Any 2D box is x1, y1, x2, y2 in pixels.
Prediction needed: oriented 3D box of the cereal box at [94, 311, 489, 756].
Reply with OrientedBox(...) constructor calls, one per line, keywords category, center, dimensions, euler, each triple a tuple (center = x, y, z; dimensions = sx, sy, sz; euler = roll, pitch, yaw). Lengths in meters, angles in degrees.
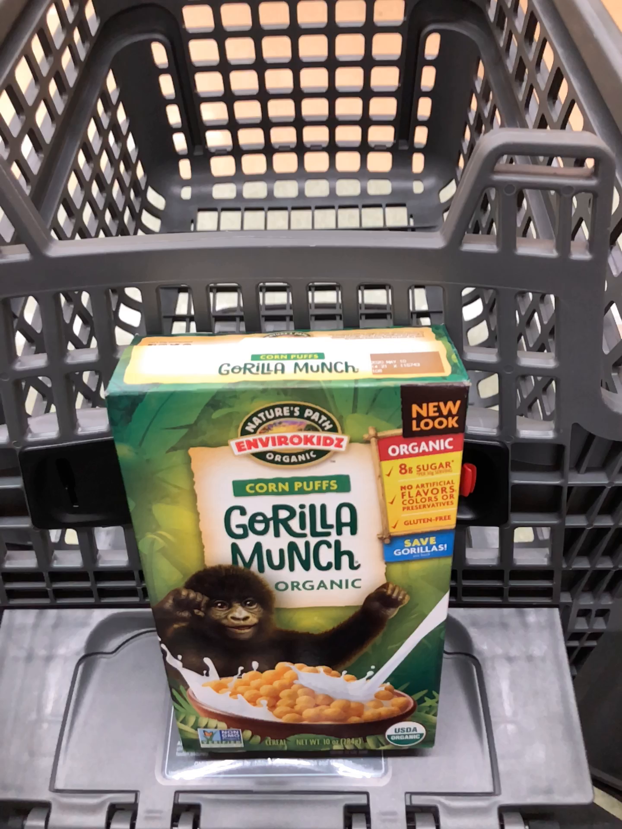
OrientedBox(category="cereal box", center=(-0.004, 0.079, 0.378), dimensions=(0.160, 0.260, 0.070), euler=(-1, 33, 2))
